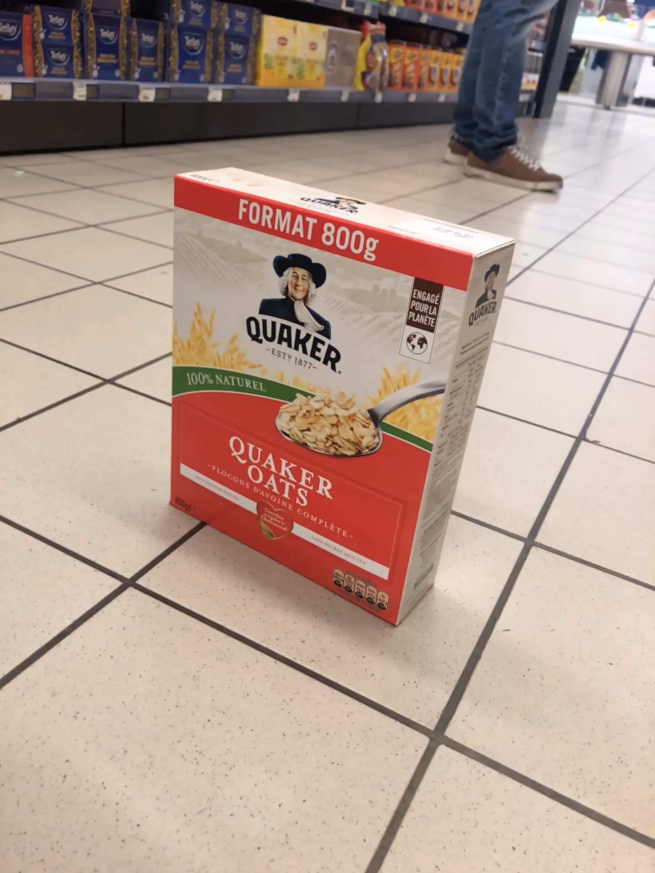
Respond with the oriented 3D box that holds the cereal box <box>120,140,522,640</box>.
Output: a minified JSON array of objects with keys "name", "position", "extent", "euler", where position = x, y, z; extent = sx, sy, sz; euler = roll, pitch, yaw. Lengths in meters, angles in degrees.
[{"name":"cereal box","position":[-0.023,-0.033,0.423],"extent":[0.210,0.229,0.060],"euler":[23,31,27]}]
